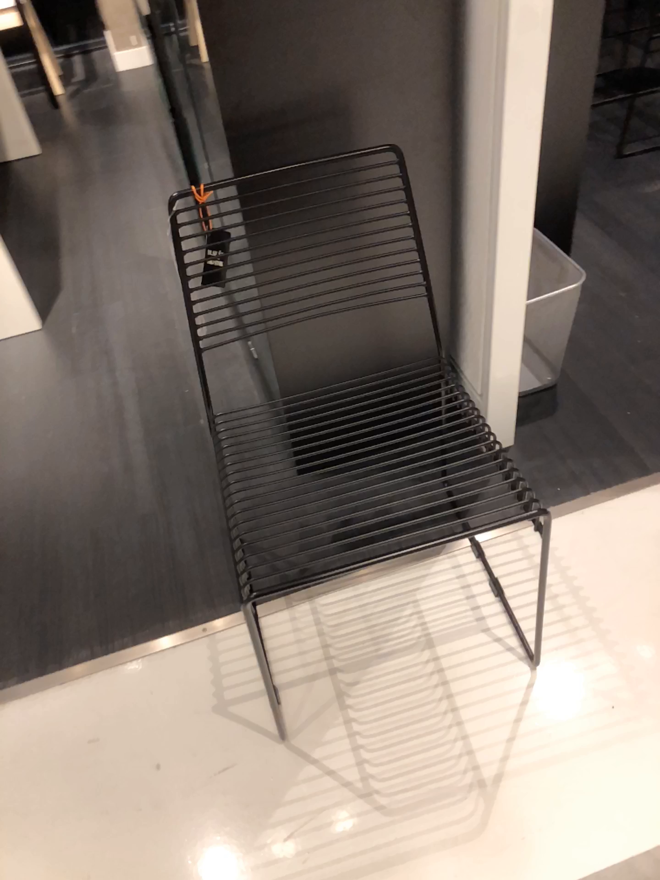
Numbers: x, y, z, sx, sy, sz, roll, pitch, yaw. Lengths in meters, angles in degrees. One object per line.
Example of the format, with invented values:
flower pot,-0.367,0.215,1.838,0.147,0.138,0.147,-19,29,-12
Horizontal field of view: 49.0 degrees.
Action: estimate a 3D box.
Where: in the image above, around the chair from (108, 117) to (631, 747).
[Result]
chair,0.039,0.016,1.157,0.520,0.765,0.503,-15,45,-5
